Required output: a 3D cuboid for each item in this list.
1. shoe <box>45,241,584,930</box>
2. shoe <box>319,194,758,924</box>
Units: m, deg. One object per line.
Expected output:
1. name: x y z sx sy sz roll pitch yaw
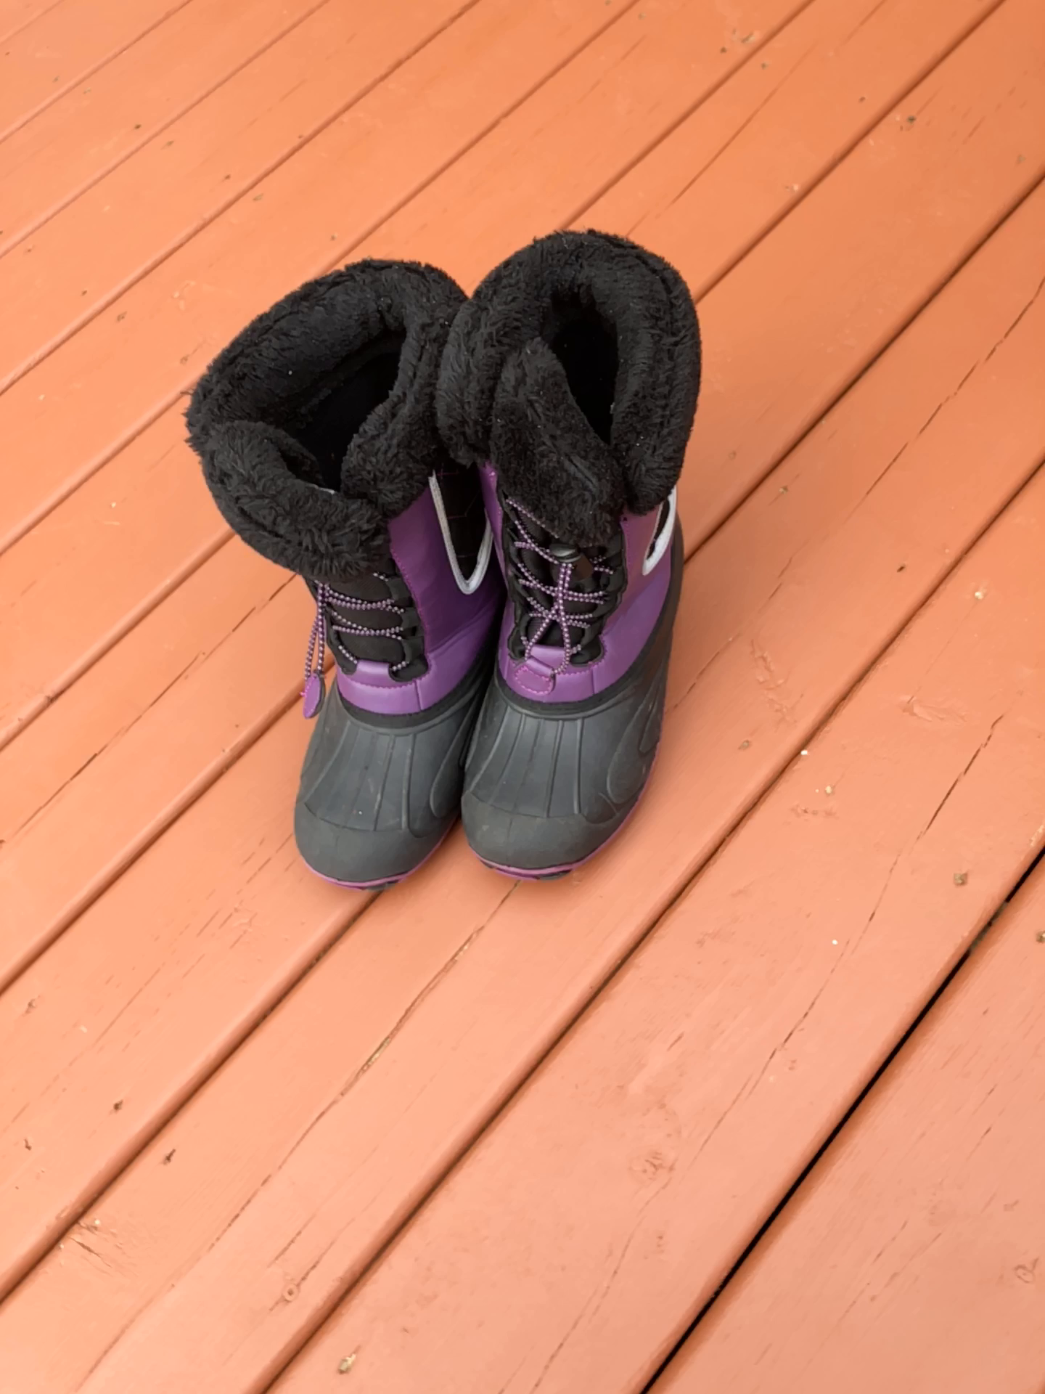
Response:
1. shoe: -0.078 -0.044 0.629 0.120 0.279 0.240 14 65 17
2. shoe: 0.036 -0.053 0.591 0.120 0.279 0.240 10 64 16
